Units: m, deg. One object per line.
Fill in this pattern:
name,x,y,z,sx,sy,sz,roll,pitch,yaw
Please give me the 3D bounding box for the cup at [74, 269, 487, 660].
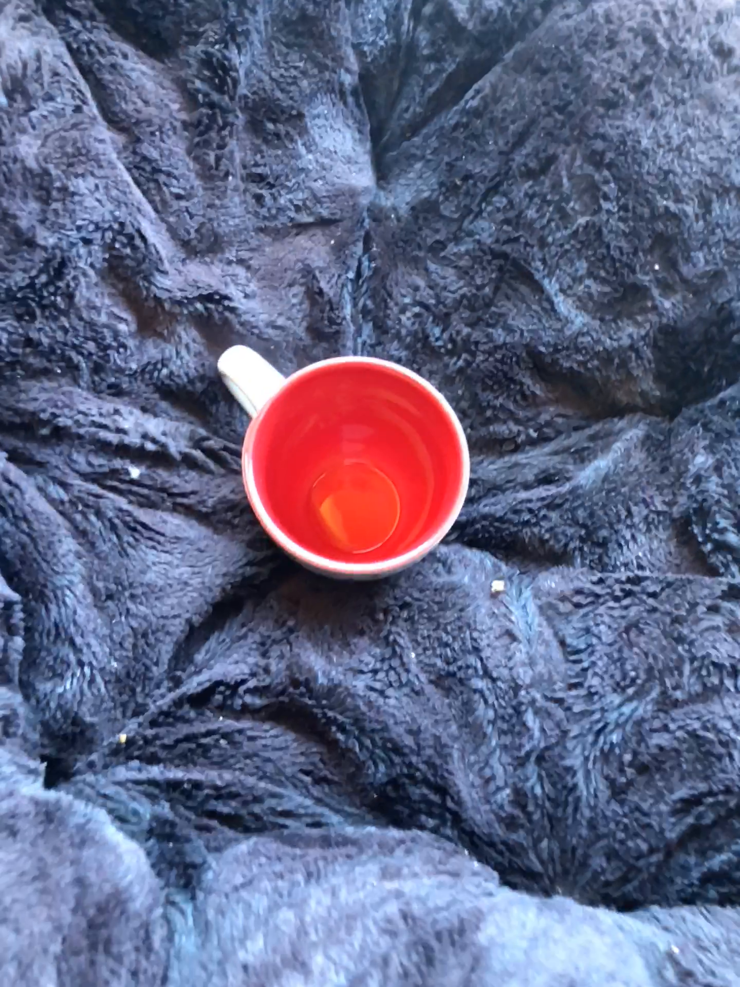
cup,-0.041,-0.006,0.396,0.140,0.110,0.100,35,74,3
